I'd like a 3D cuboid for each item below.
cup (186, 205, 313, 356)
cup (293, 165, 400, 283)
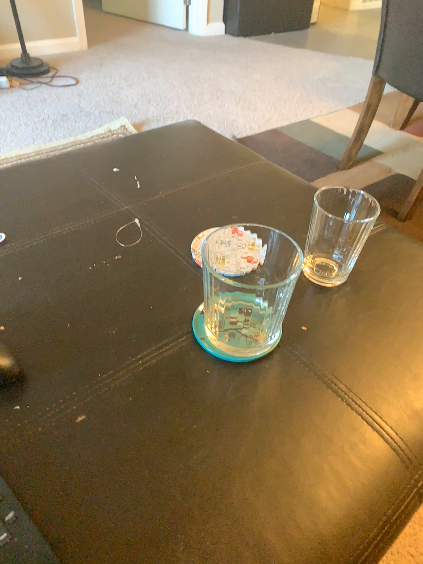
[{"bbox_3d":[0.025,-0.002,0.372,0.080,0.089,0.080,2,42,-2],"label":"cup"},{"bbox_3d":[0.131,-0.059,0.440,0.060,0.089,0.070,-7,43,-11],"label":"cup"}]
